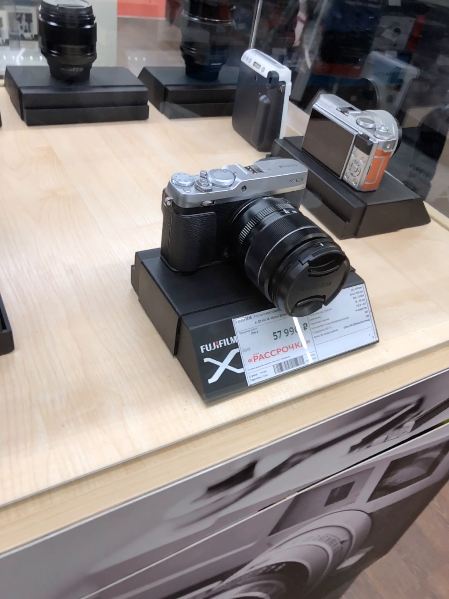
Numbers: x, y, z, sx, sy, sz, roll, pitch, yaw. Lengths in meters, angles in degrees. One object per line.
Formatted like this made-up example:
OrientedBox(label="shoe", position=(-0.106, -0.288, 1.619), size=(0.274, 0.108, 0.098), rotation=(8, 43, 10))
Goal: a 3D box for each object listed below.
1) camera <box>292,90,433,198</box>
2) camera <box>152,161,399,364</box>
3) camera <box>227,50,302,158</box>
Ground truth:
OrientedBox(label="camera", position=(0.154, -0.185, 0.578), size=(0.077, 0.068, 0.132), rotation=(-13, 45, -27))
OrientedBox(label="camera", position=(0.031, -0.037, 0.377), size=(0.132, 0.080, 0.116), rotation=(-14, 46, -28))
OrientedBox(label="camera", position=(0.050, -0.262, 0.665), size=(0.045, 0.109, 0.088), rotation=(-14, 45, -24))
